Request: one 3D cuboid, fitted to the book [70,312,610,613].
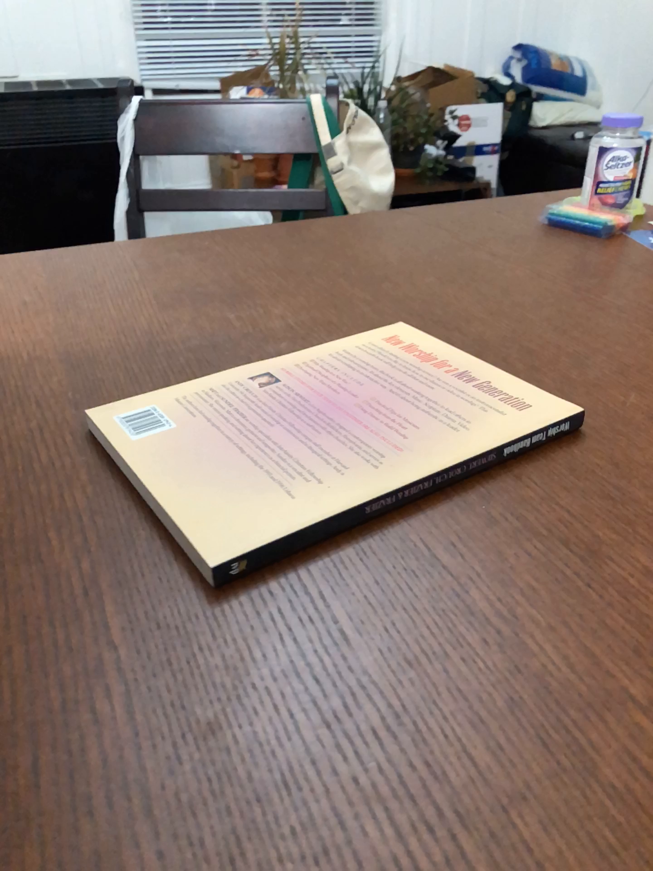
[{"bbox_3d":[0.007,-0.010,0.445,0.271,0.020,0.191,-20,35,-29],"label":"book"}]
